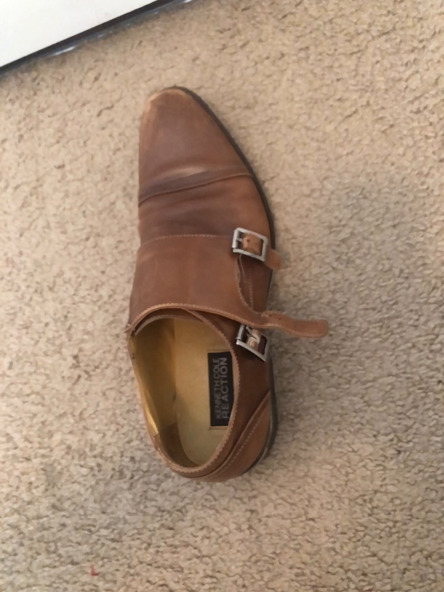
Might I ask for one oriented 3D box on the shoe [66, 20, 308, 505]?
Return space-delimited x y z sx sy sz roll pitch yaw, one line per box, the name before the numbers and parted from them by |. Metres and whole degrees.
shoe | -0.022 -0.019 0.354 0.099 0.107 0.286 -12 80 17
